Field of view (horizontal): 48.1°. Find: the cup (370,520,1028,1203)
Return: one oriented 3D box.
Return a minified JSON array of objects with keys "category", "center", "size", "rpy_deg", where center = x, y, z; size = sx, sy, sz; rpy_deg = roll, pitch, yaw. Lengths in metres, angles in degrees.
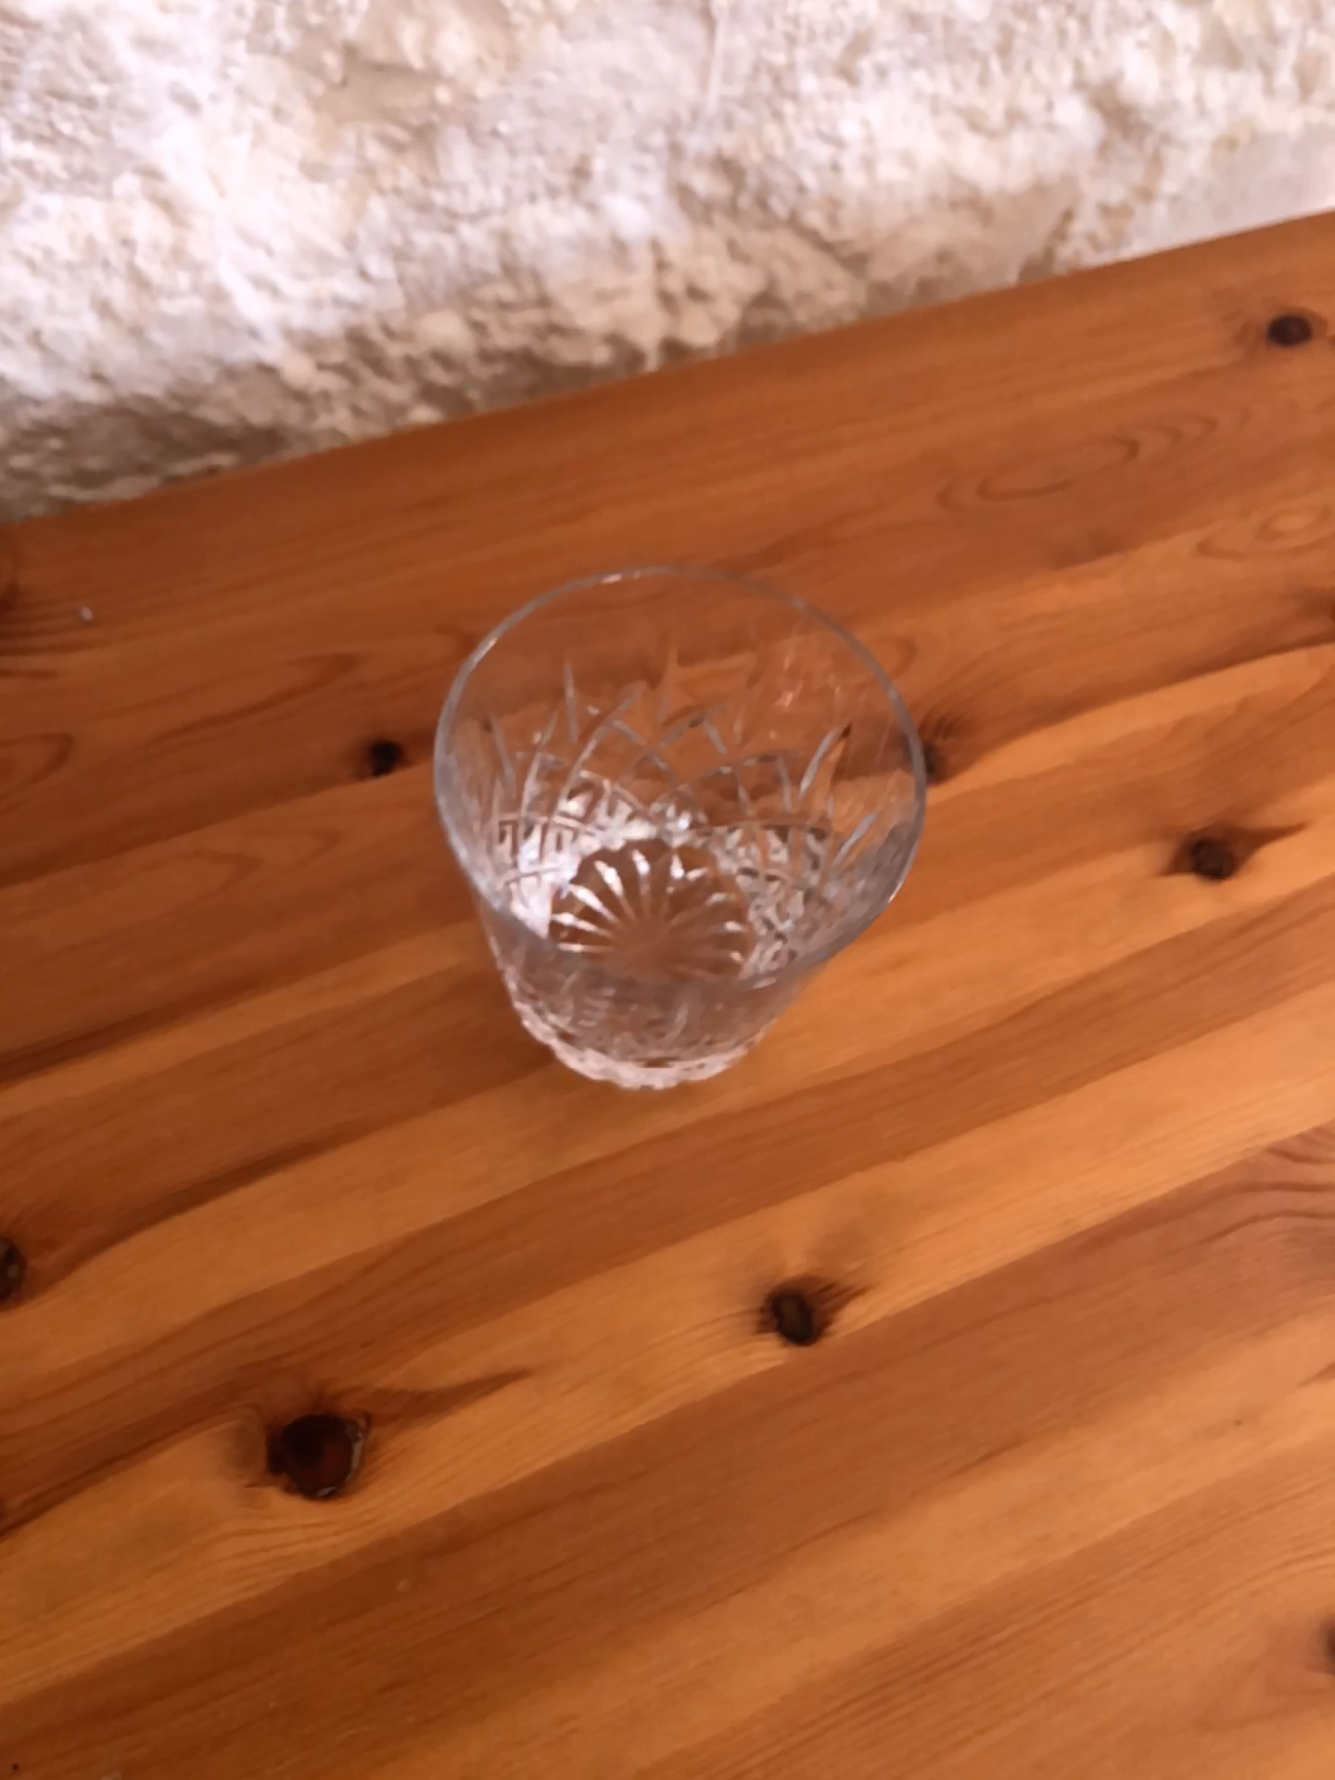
[{"category":"cup","center":[0.000,-0.004,0.255],"size":[0.078,0.068,0.077],"rpy_deg":[3,63,-6]}]
